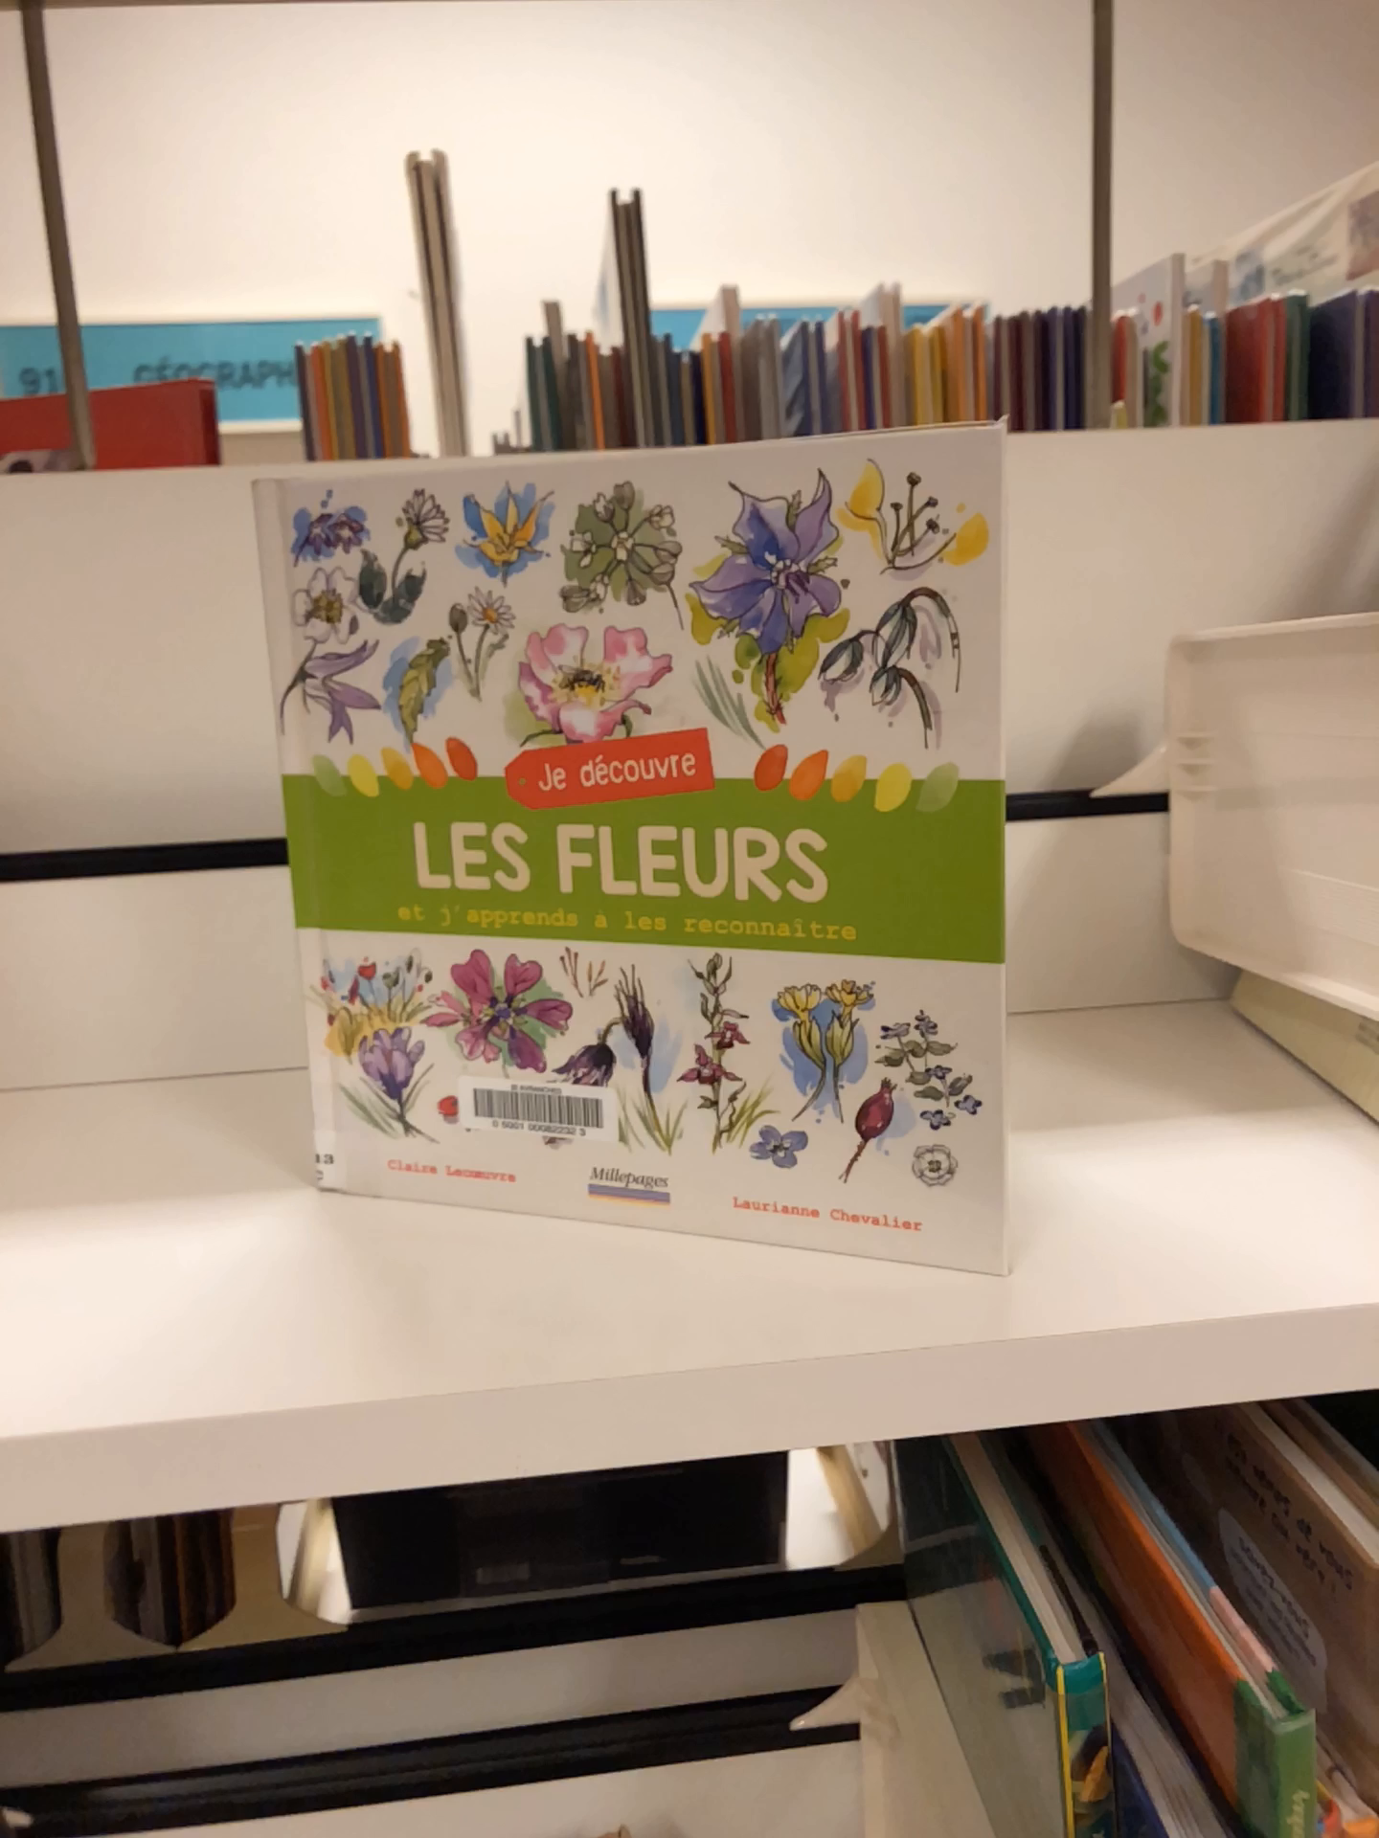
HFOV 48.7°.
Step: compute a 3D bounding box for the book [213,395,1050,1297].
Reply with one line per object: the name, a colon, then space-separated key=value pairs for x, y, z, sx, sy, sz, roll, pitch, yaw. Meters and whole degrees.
book: x=-0.005 y=-0.022 z=0.435 sx=0.208 sy=0.215 sz=0.104 roll=0 pitch=11 yaw=14
